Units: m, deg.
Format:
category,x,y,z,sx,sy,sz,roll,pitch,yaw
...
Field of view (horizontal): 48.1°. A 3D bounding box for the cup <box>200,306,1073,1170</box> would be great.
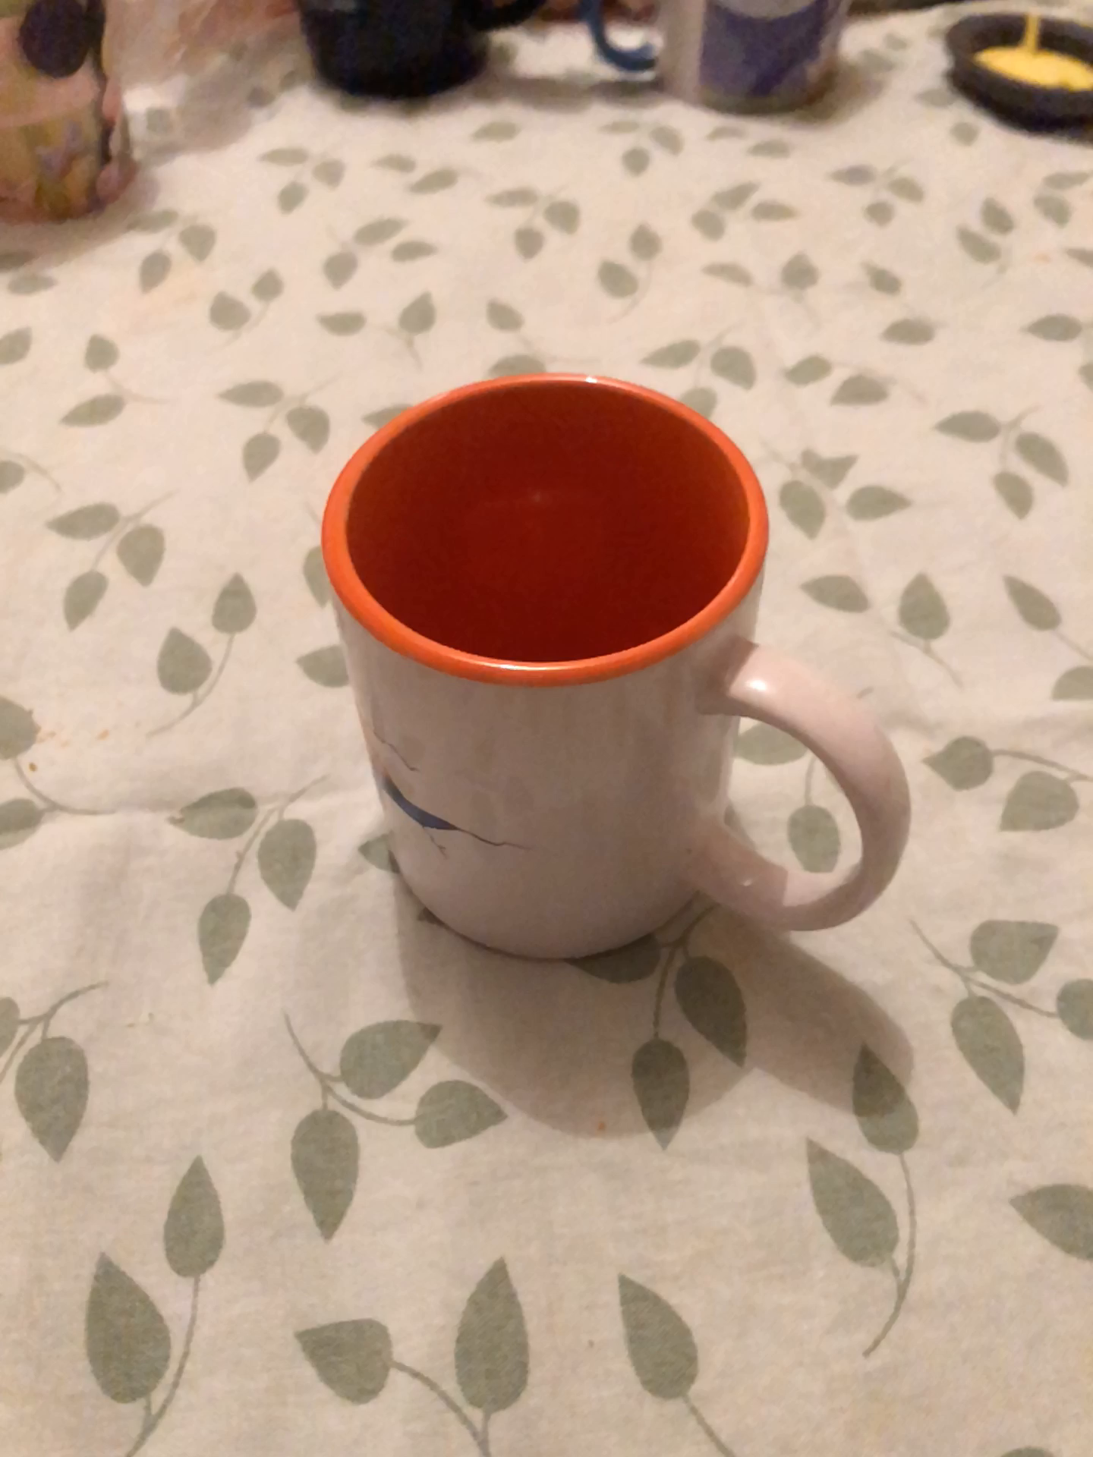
category,x,y,z,sx,sy,sz,roll,pitch,yaw
cup,0.013,0.000,0.241,0.120,0.099,0.080,32,58,24
